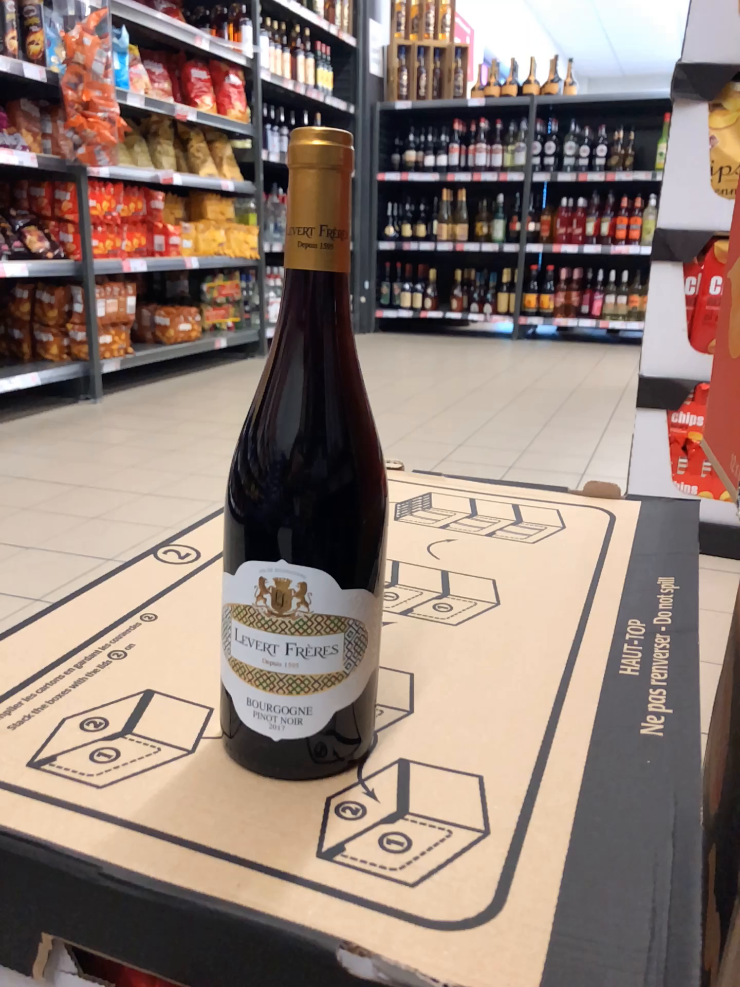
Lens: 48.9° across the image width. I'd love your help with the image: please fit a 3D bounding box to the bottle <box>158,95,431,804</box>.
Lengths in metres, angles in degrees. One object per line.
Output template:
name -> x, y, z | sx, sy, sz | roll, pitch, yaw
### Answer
bottle -> -0.030, -0.015, 0.384 | 0.090, 0.299, 0.080 | 6, 17, 17
